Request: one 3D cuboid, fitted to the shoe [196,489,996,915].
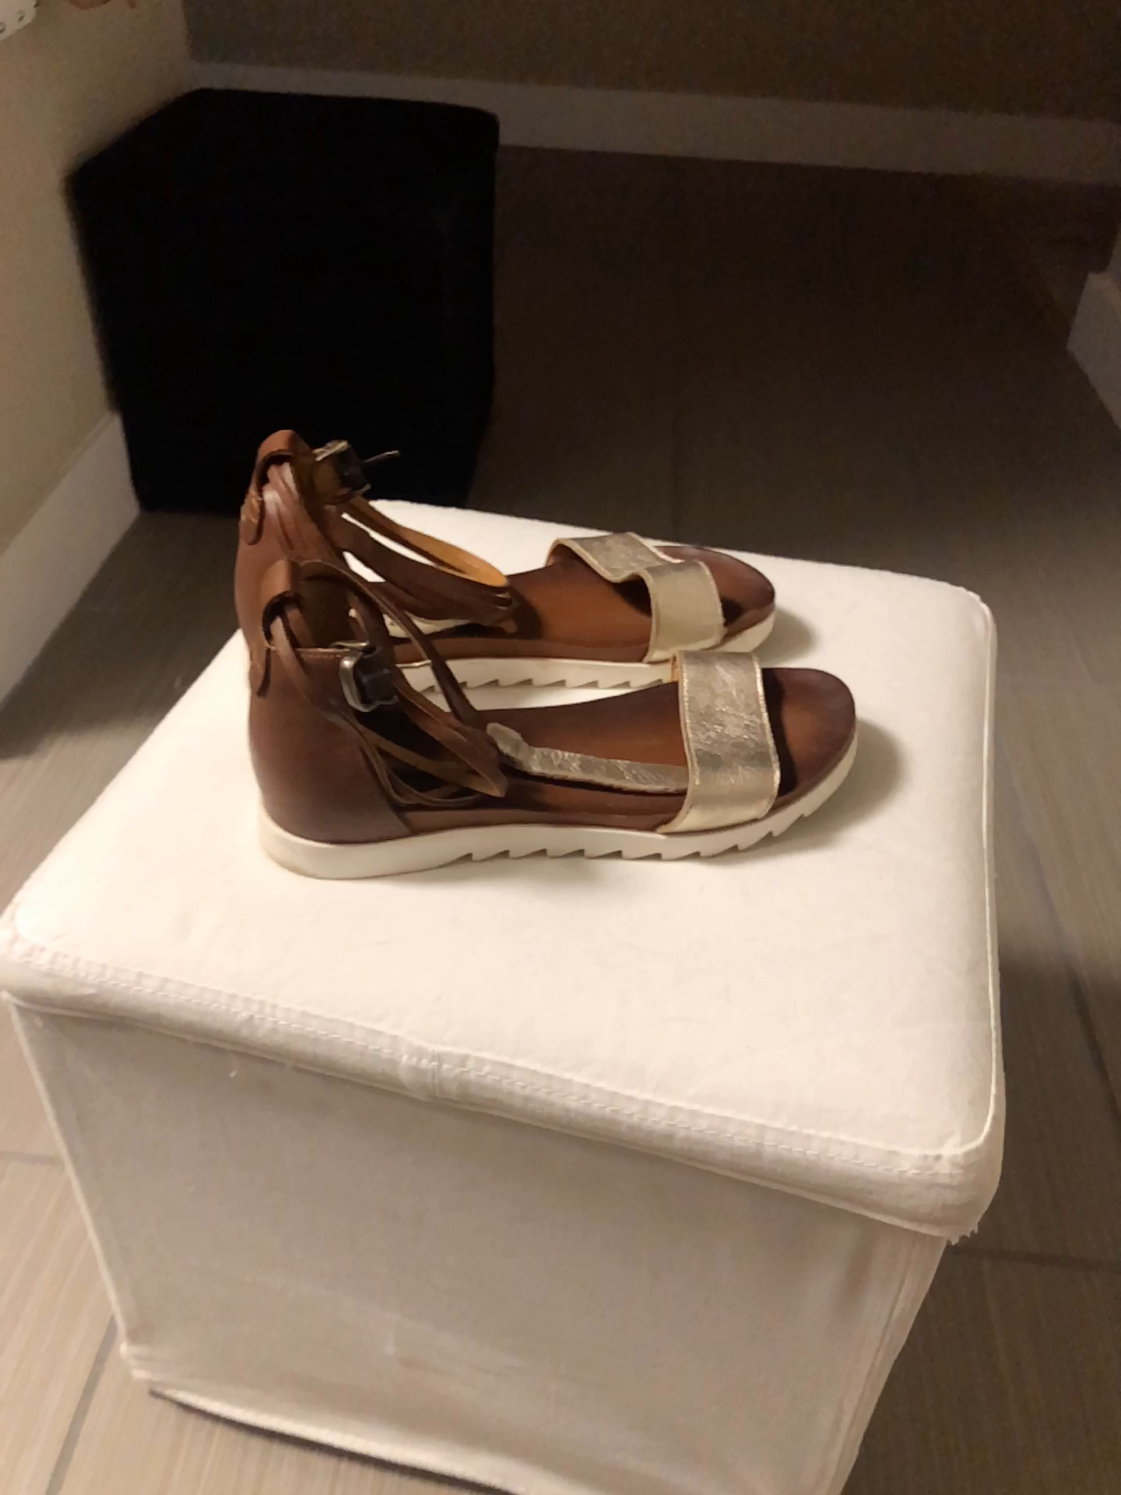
[{"bbox_3d":[0.006,-0.023,0.464,0.260,0.090,0.110,-5,39,-10],"label":"shoe"}]

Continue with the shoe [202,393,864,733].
[{"bbox_3d":[-0.017,-0.087,0.551,0.260,0.090,0.110,-5,39,-10],"label":"shoe"}]
